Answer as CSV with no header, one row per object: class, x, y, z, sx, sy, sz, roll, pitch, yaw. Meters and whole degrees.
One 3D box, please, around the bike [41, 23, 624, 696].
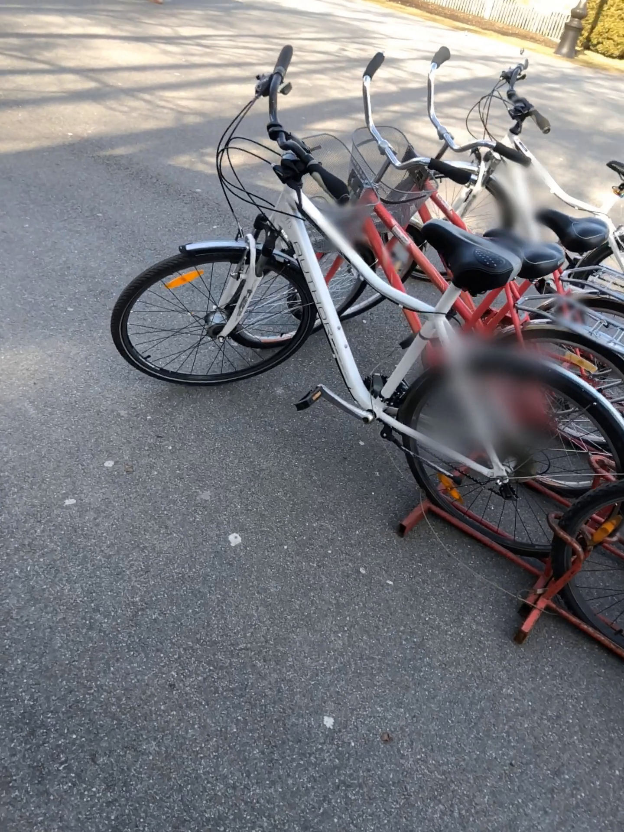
bike,0.160,-0.192,1.836,1.600,1.163,0.622,23,34,12
